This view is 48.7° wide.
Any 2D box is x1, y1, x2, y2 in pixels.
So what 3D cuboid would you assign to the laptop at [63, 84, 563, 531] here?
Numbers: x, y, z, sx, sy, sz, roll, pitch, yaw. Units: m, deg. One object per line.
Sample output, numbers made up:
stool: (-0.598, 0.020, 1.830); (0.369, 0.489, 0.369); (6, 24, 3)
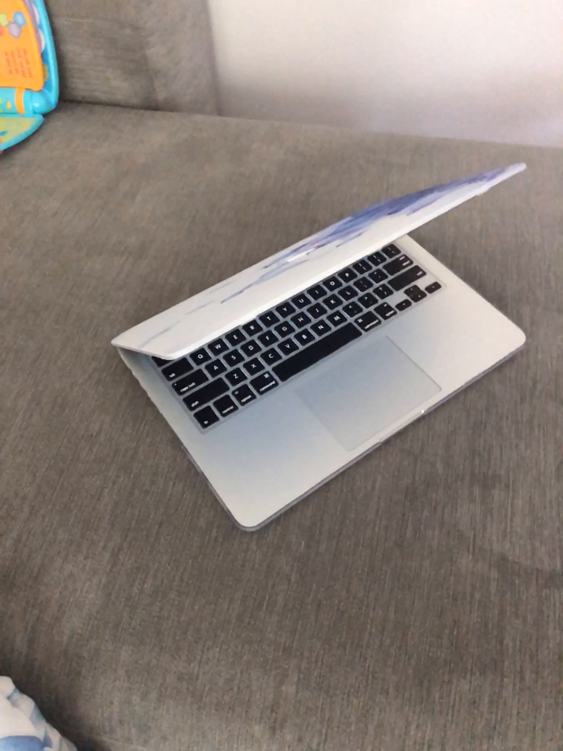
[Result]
laptop: (0.032, -0.073, 0.508); (0.308, 0.137, 0.218); (-31, 60, -20)
